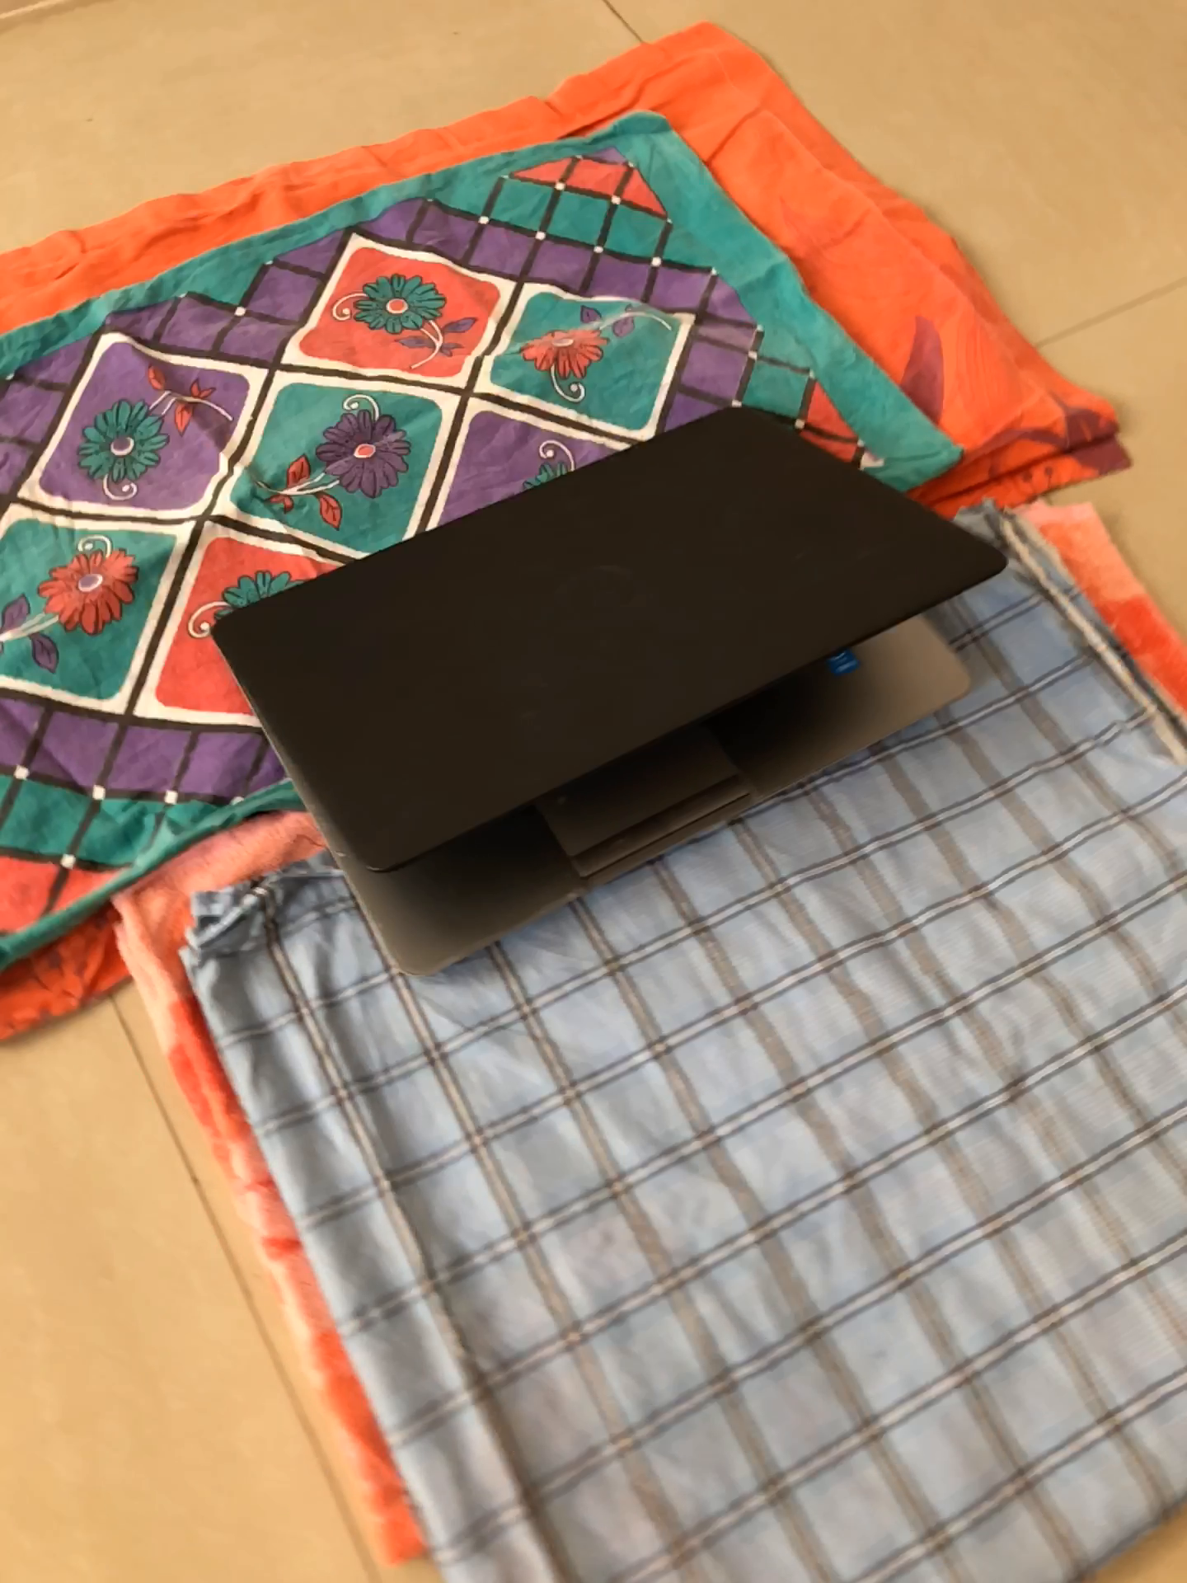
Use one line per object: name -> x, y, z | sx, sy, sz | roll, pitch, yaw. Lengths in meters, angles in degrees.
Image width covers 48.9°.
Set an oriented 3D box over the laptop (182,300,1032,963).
laptop -> 0.004, -0.092, 0.630 | 0.322, 0.099, 0.212 | -26, 63, -19
